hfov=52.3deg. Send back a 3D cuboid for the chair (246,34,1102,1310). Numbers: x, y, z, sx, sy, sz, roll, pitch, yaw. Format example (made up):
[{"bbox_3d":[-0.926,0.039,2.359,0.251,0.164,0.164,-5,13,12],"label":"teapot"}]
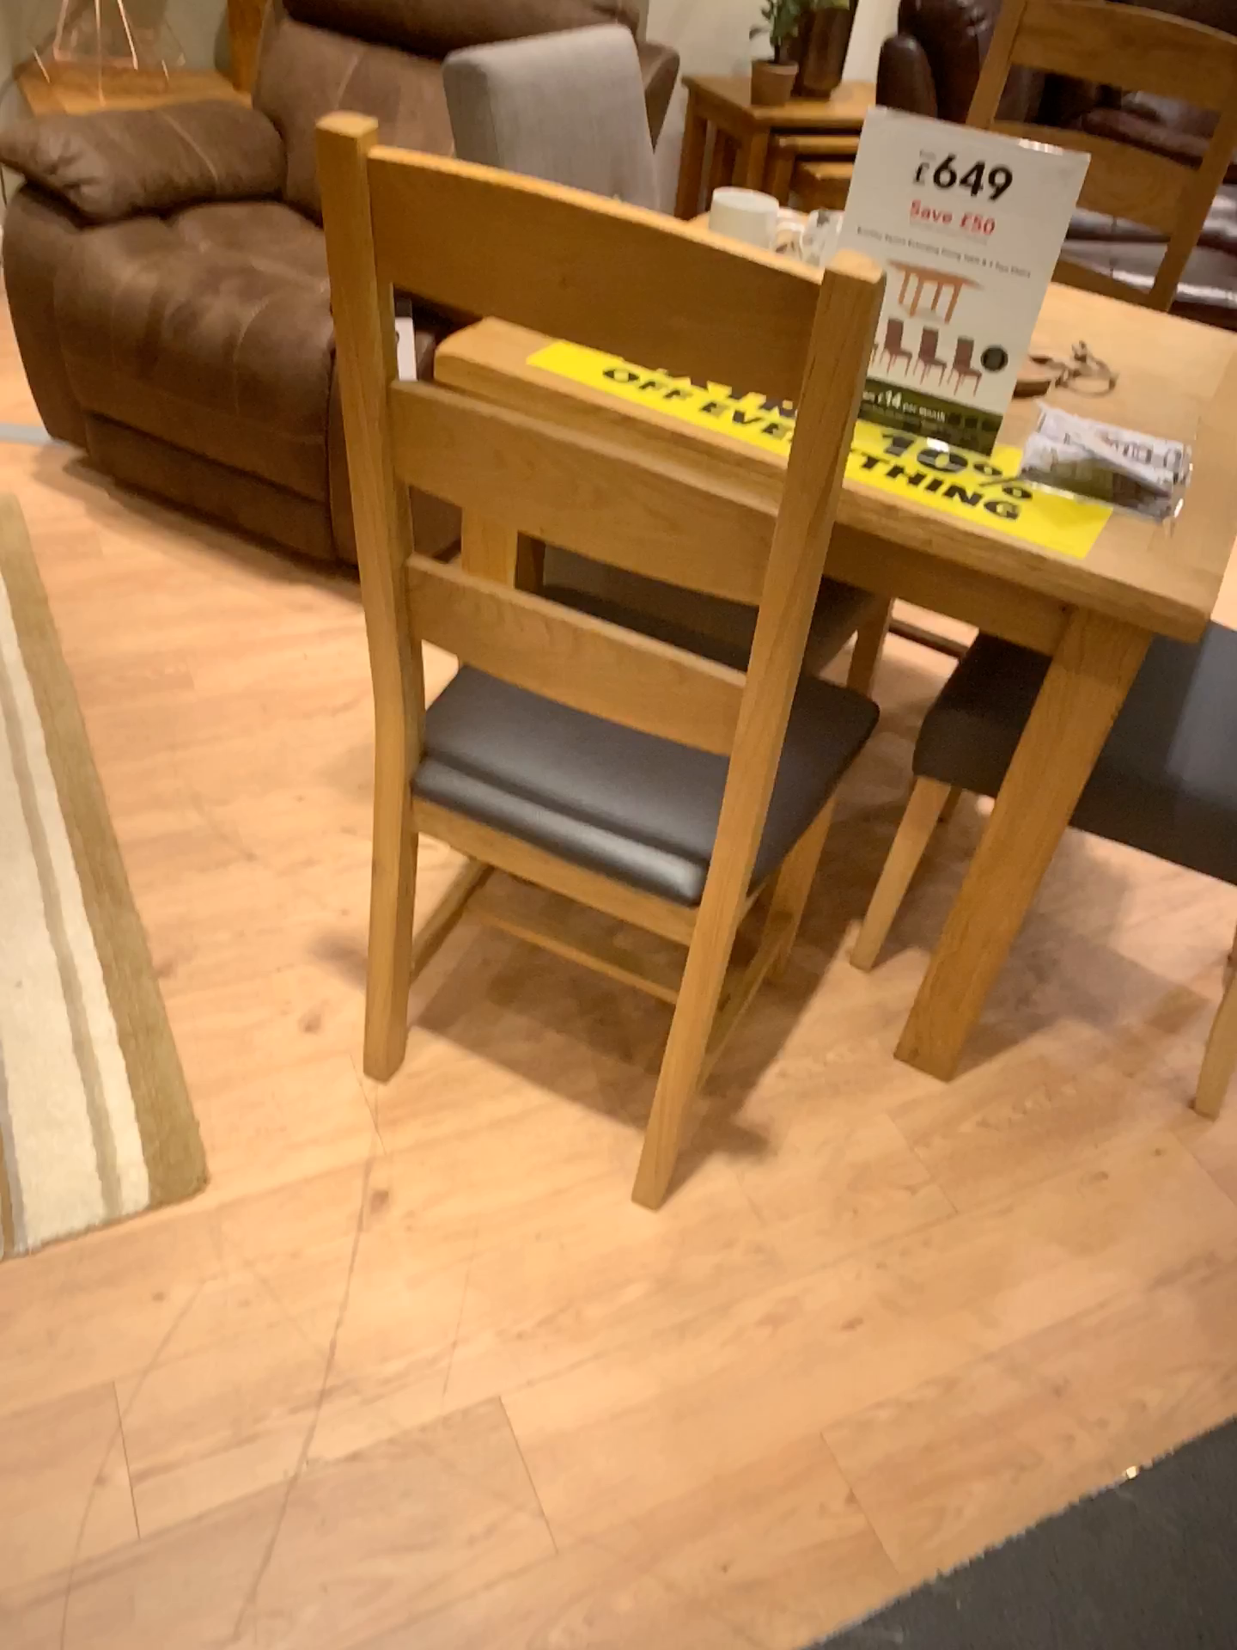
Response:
[{"bbox_3d":[0.022,-0.113,1.313,0.471,1.099,0.554,23,42,16],"label":"chair"}]
